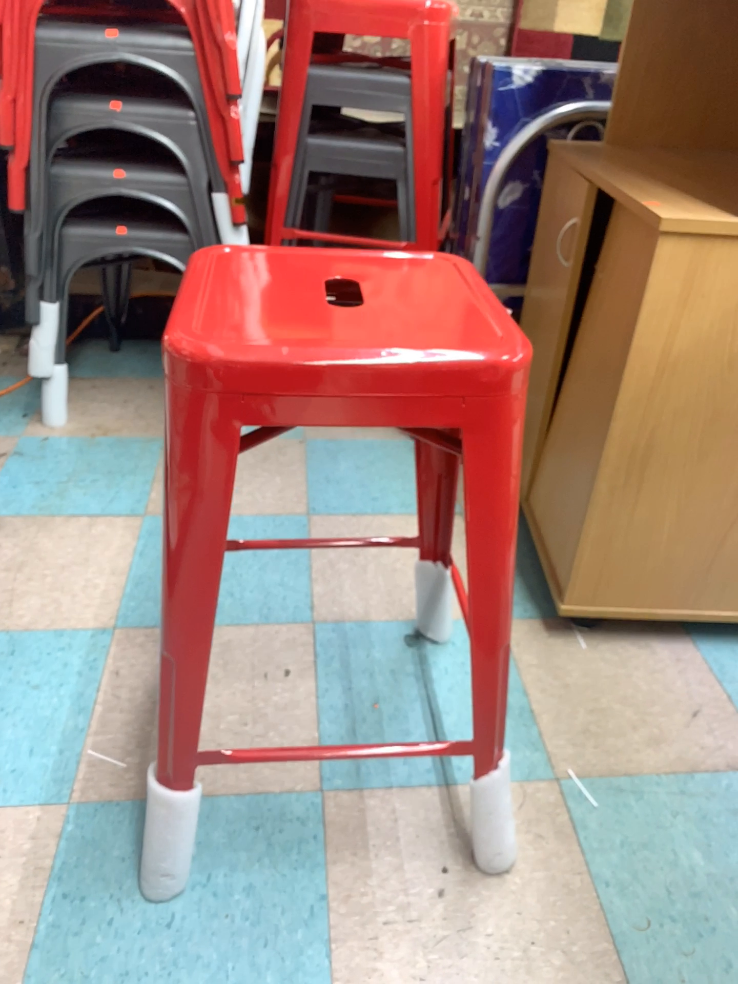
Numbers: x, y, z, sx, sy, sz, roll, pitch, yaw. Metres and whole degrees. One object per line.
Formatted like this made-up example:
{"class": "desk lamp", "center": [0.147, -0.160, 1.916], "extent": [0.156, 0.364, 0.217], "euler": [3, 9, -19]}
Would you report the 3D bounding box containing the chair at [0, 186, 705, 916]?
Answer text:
{"class": "chair", "center": [-0.042, 0.048, 0.798], "extent": [0.438, 0.598, 0.436], "euler": [-1, 33, -6]}
